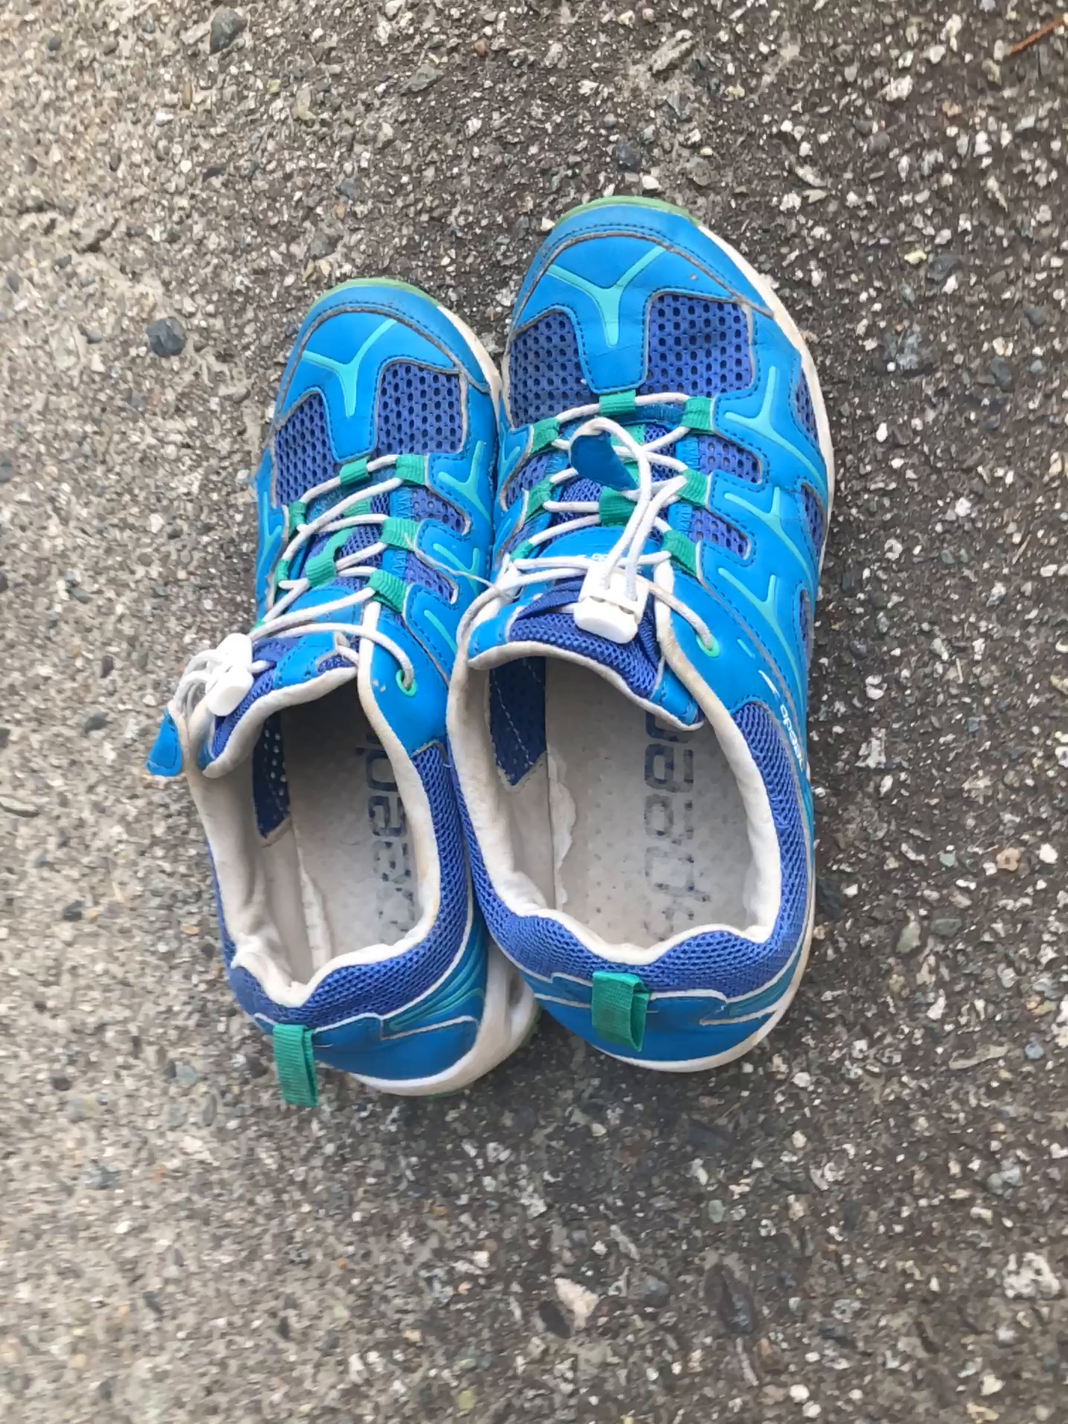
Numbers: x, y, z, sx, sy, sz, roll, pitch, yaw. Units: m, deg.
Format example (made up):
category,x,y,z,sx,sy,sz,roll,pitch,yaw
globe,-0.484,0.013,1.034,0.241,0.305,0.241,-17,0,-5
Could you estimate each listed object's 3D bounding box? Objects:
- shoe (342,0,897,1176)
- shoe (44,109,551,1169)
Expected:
category,x,y,z,sx,sy,sz,roll,pitch,yaw
shoe,0.025,-0.027,0.301,0.100,0.090,0.250,-6,84,21
shoe,-0.067,-0.016,0.346,0.100,0.090,0.260,-6,84,21
